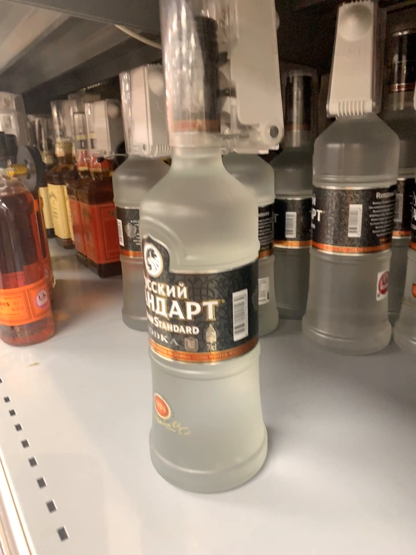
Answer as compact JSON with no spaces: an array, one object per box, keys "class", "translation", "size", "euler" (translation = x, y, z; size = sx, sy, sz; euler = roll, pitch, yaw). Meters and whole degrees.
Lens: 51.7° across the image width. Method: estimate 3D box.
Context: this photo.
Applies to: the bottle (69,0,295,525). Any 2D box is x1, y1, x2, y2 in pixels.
[{"class":"bottle","translation":[-0.012,-0.012,0.271],"size":[0.088,0.288,0.092],"euler":[-2,17,1]}]
